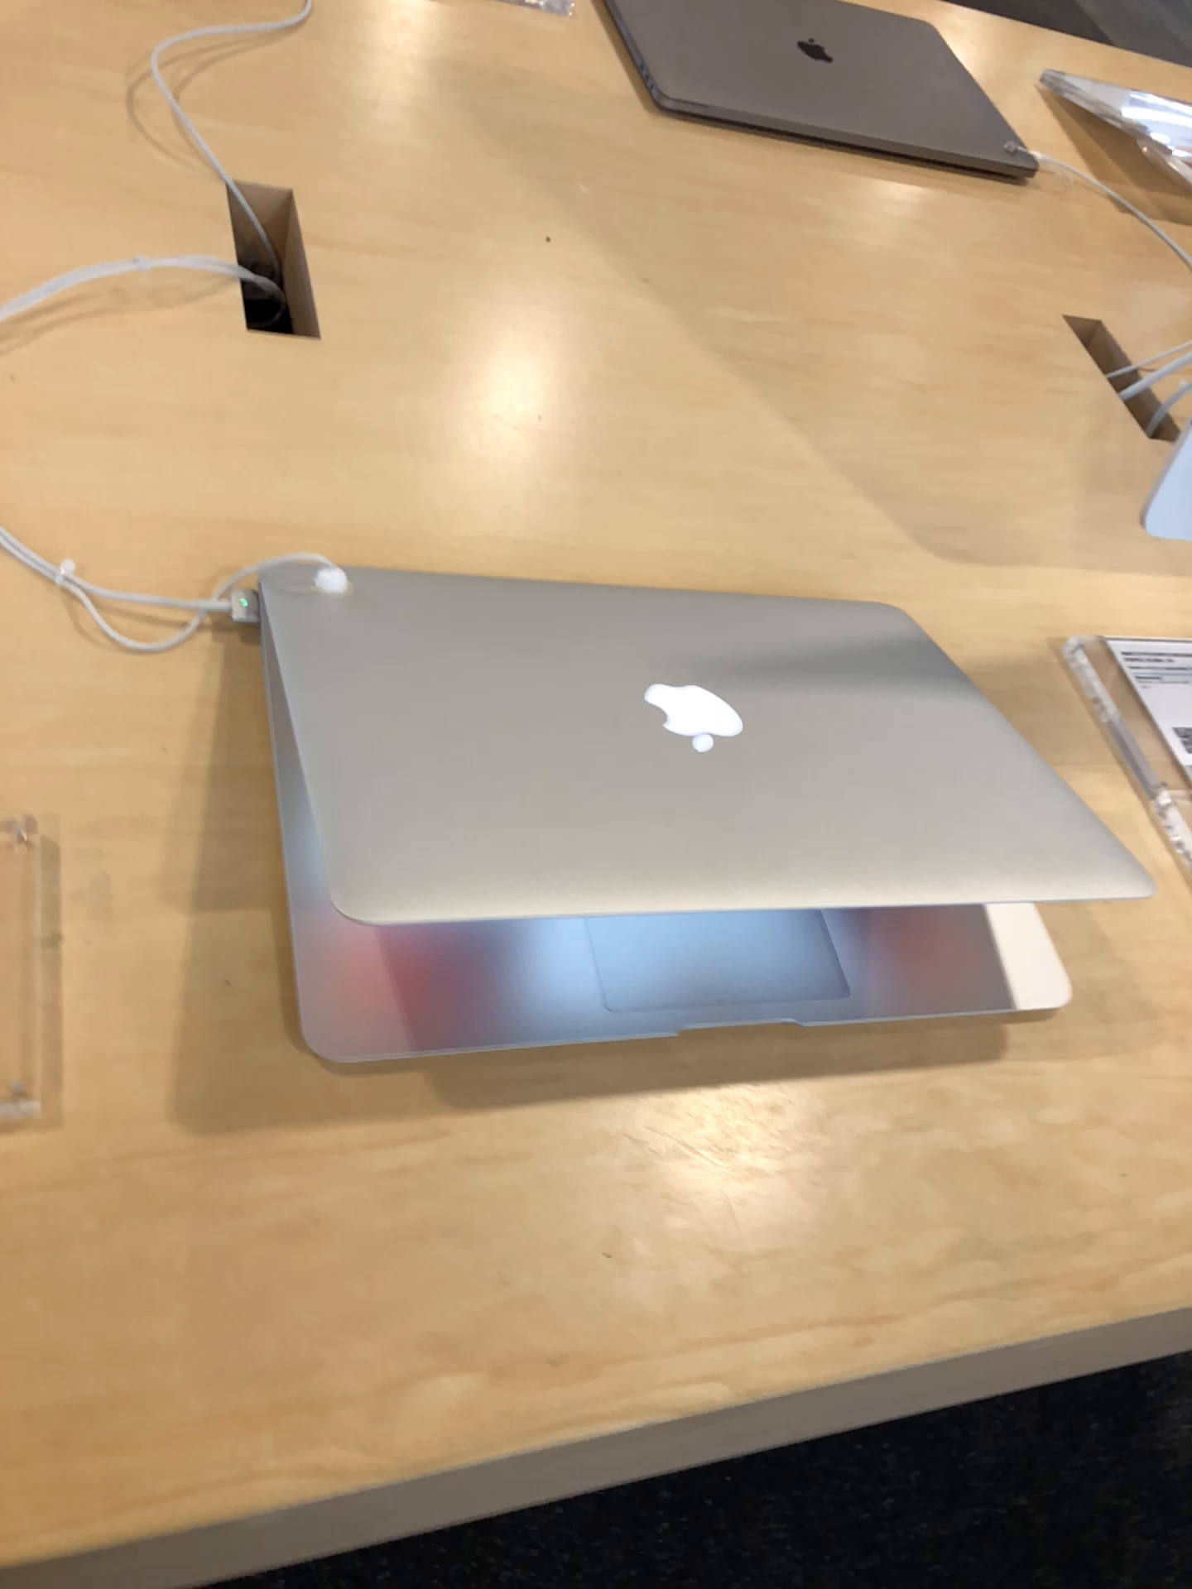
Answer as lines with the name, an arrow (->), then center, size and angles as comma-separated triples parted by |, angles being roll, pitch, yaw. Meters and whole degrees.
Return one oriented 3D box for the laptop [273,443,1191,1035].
laptop -> 0.047, -0.026, 0.520 | 0.315, 0.067, 0.216 | 0, 53, -21
